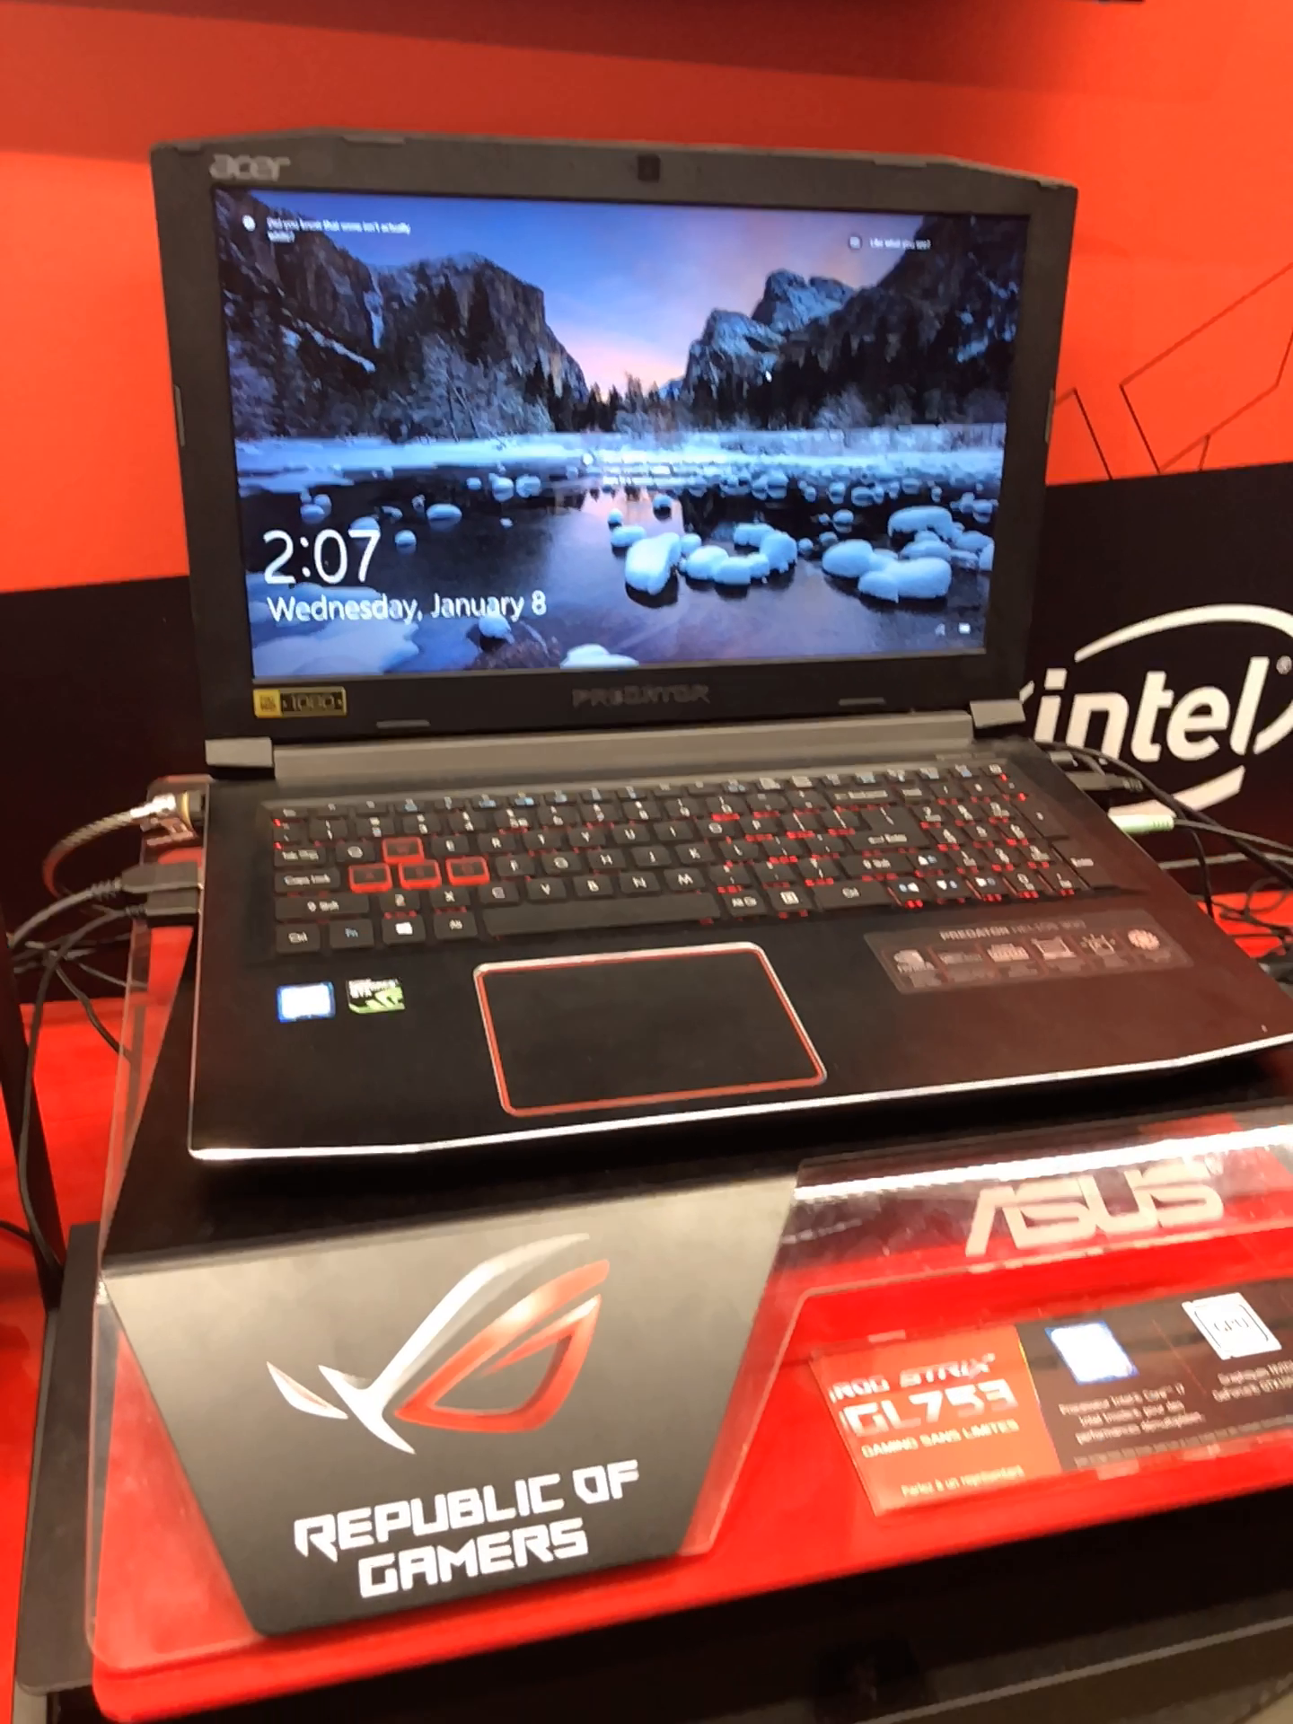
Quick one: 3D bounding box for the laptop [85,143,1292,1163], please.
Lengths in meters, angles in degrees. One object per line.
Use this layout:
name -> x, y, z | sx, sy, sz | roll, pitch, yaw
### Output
laptop -> 0.028, -0.108, 0.526 | 0.385, 0.239, 0.295 | -4, 31, -13
